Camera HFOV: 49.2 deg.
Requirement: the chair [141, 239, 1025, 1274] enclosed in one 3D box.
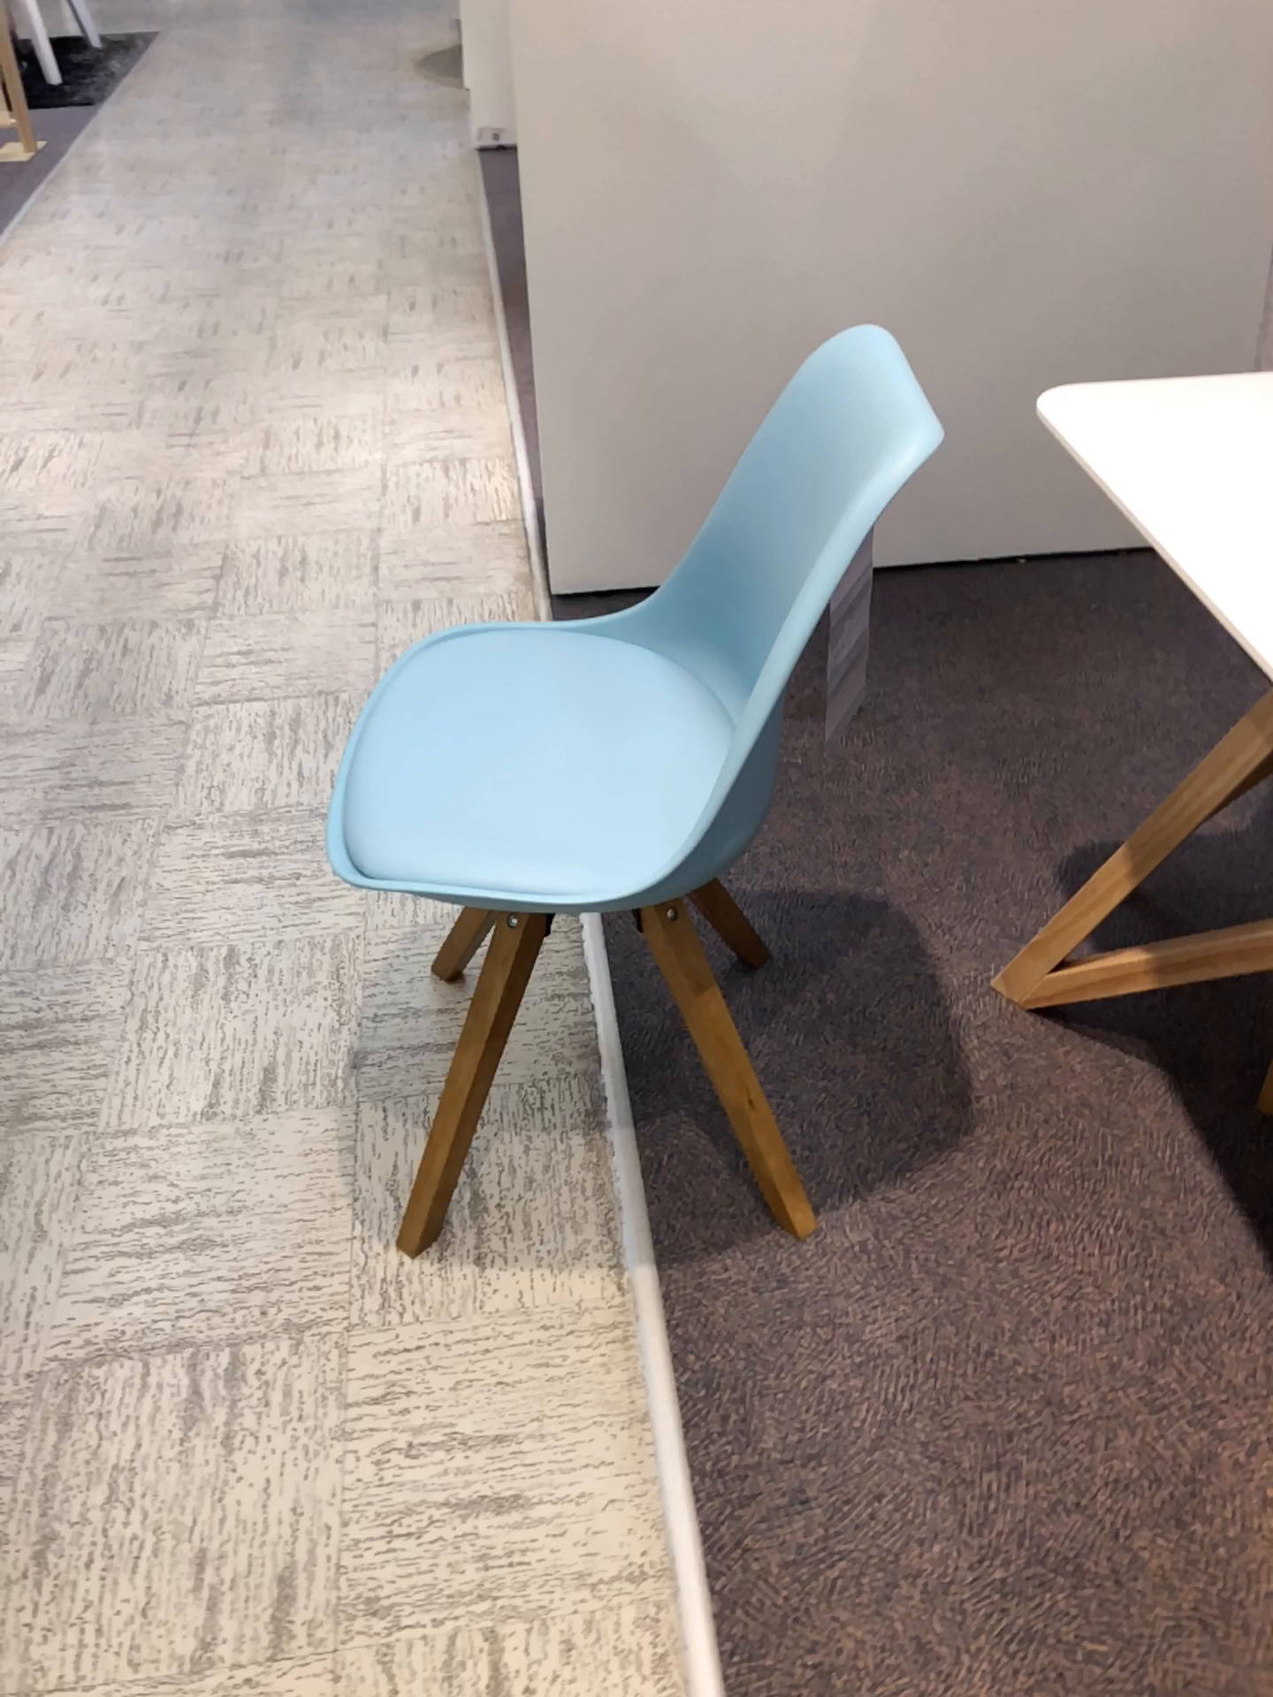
[{"bbox_3d":[-0.034,-0.080,1.337,0.560,0.795,0.543,-3,38,-1],"label":"chair"}]
